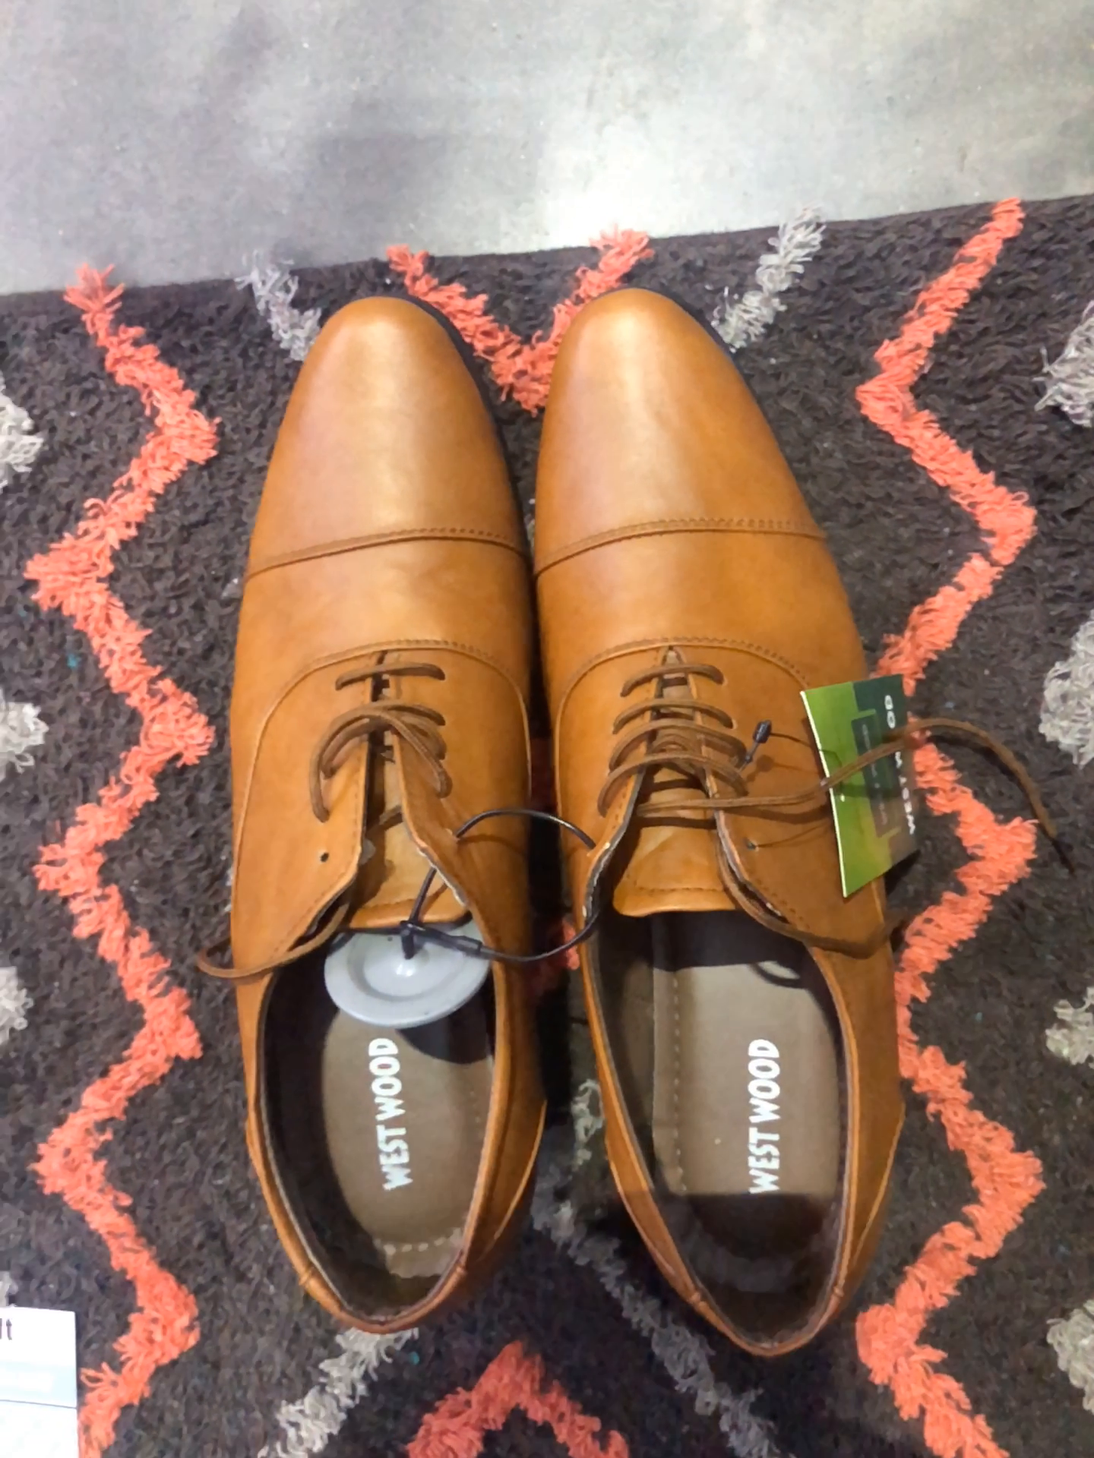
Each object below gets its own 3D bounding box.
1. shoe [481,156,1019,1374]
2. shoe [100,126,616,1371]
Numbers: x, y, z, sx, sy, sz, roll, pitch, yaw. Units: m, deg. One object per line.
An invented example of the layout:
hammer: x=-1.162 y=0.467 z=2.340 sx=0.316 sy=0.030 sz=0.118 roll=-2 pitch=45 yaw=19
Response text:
shoe: x=0.052 y=0.010 z=0.346 sx=0.110 sy=0.080 sz=0.300 roll=-5 pitch=87 yaw=5
shoe: x=-0.049 y=0.005 z=0.344 sx=0.110 sy=0.070 sz=0.310 roll=-5 pitch=87 yaw=5
